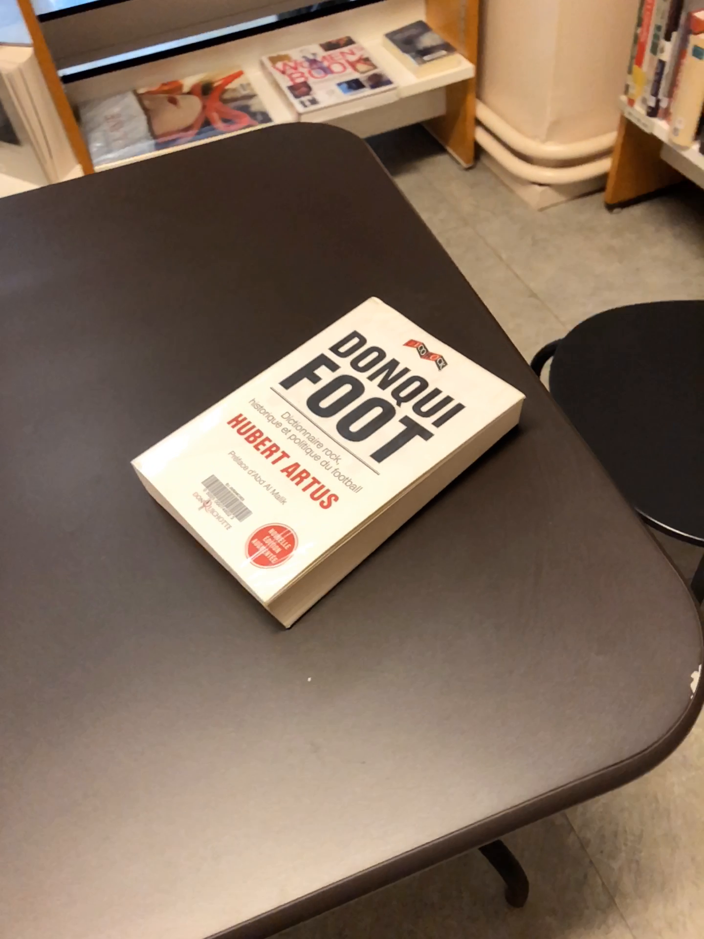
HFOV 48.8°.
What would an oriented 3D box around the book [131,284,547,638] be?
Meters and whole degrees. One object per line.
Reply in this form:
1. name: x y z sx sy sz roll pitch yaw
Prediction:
1. book: -0.006 -0.019 0.485 0.208 0.042 0.147 -37 56 -21
